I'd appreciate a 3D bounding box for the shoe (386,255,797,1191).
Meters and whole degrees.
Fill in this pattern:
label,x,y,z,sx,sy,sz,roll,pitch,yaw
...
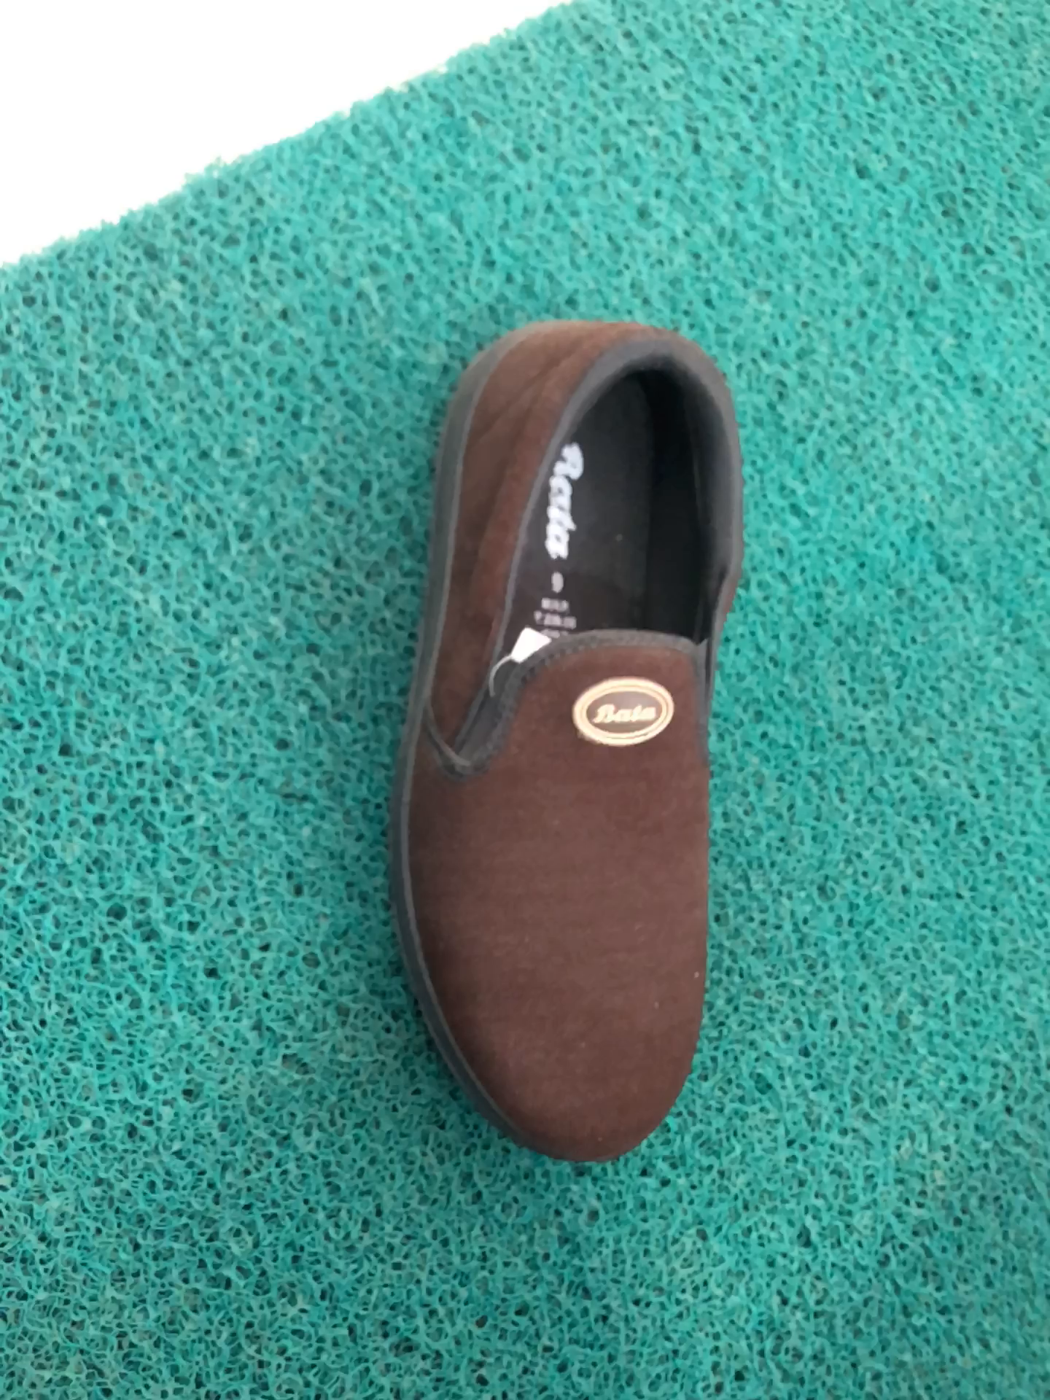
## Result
label,x,y,z,sx,sy,sz,roll,pitch,yaw
shoe,0.016,0.008,0.387,0.100,0.100,0.260,3,82,-18
